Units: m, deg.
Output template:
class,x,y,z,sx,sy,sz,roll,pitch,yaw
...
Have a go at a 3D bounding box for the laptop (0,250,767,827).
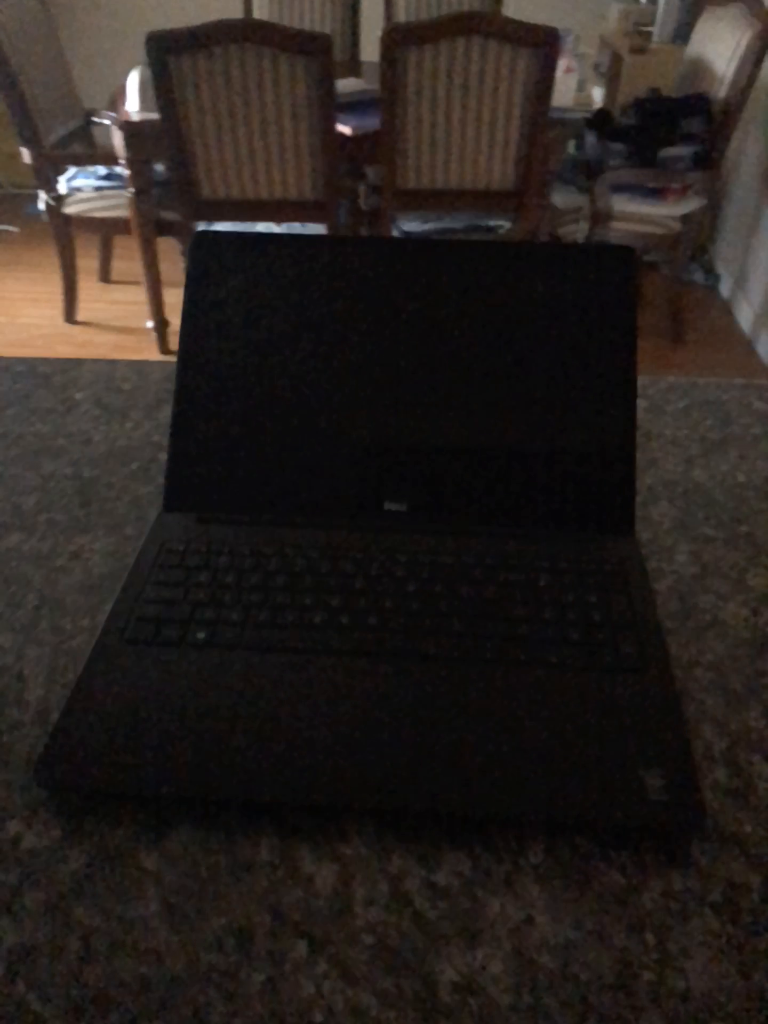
class,x,y,z,sx,sy,sz,roll,pitch,yaw
laptop,0.008,-0.025,0.584,0.361,0.158,0.417,3,37,3
